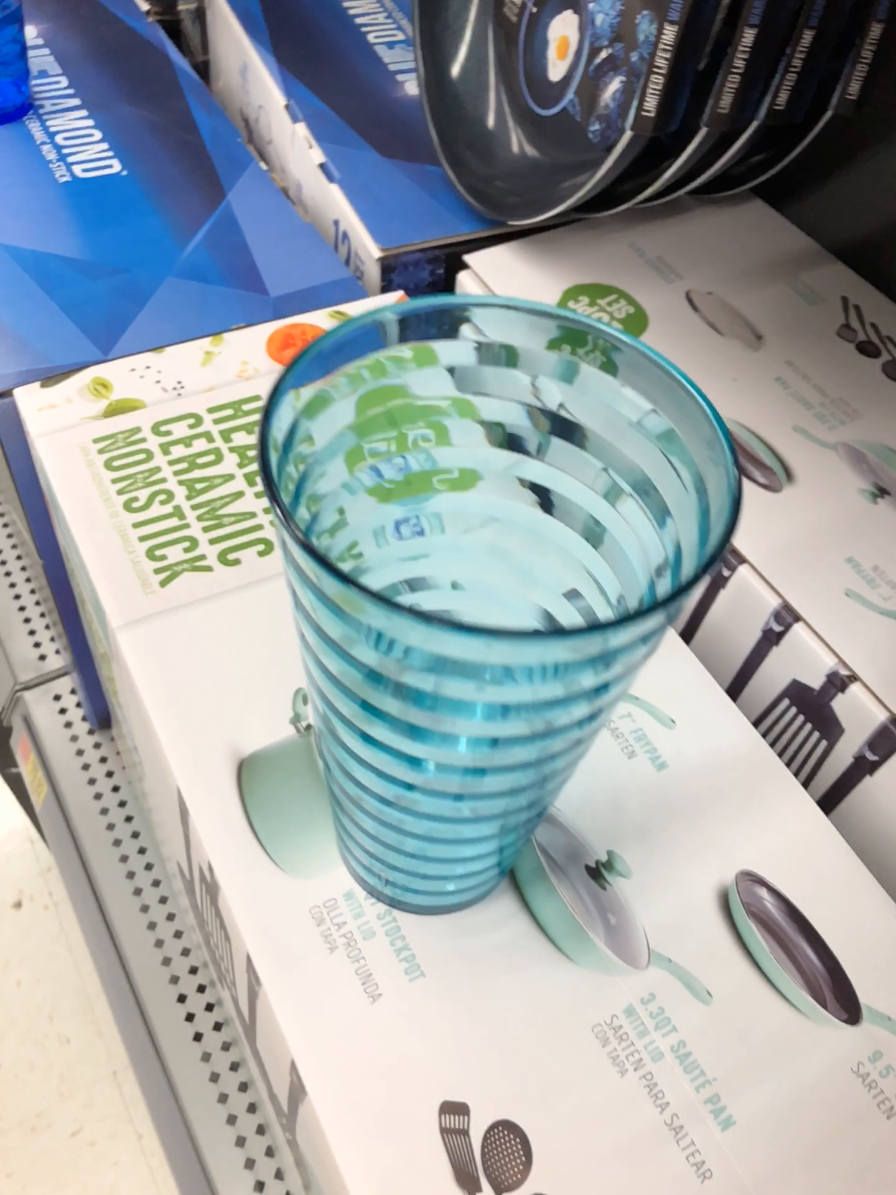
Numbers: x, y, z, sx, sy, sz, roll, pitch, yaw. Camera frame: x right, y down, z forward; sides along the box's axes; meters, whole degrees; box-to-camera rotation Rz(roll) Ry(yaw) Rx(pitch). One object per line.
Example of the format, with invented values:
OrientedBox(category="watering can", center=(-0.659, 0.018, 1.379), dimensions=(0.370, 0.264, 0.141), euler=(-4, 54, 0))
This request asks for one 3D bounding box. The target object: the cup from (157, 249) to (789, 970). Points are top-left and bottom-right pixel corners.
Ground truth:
OrientedBox(category="cup", center=(0.002, 0.014, 0.253), dimensions=(0.103, 0.151, 0.105), euler=(3, 53, -4))
